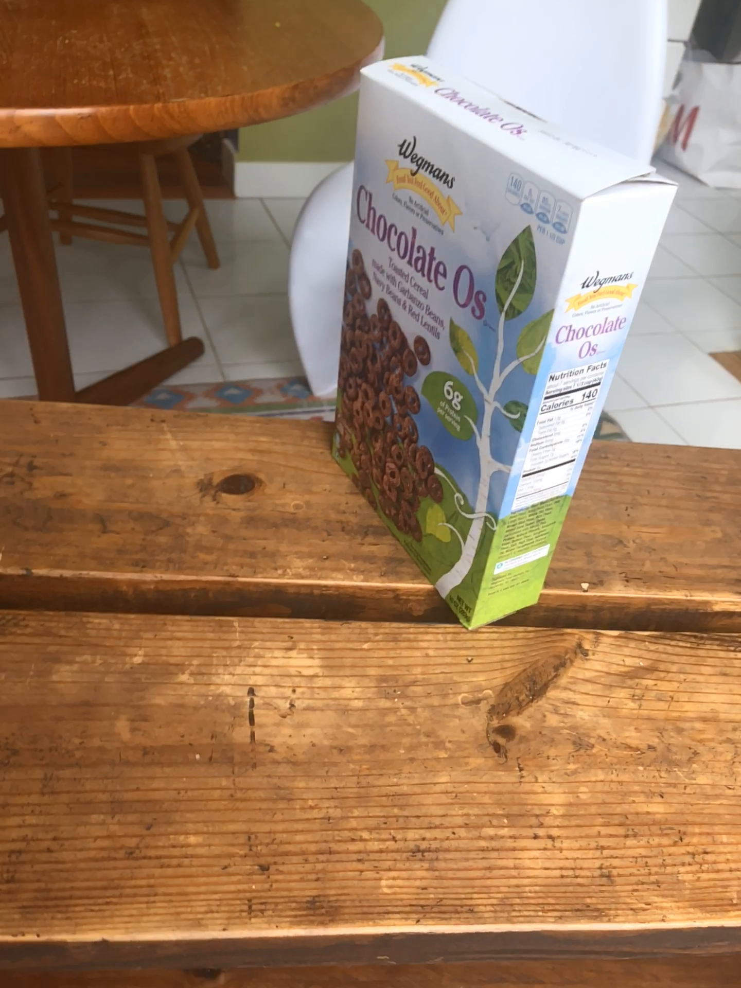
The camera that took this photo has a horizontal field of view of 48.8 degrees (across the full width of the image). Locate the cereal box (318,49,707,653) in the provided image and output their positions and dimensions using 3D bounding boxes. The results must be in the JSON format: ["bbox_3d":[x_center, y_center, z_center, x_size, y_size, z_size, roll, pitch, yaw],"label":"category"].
[{"bbox_3d":[0.050,-0.081,0.483,0.060,0.278,0.211,-16,45,-25],"label":"cereal box"}]
